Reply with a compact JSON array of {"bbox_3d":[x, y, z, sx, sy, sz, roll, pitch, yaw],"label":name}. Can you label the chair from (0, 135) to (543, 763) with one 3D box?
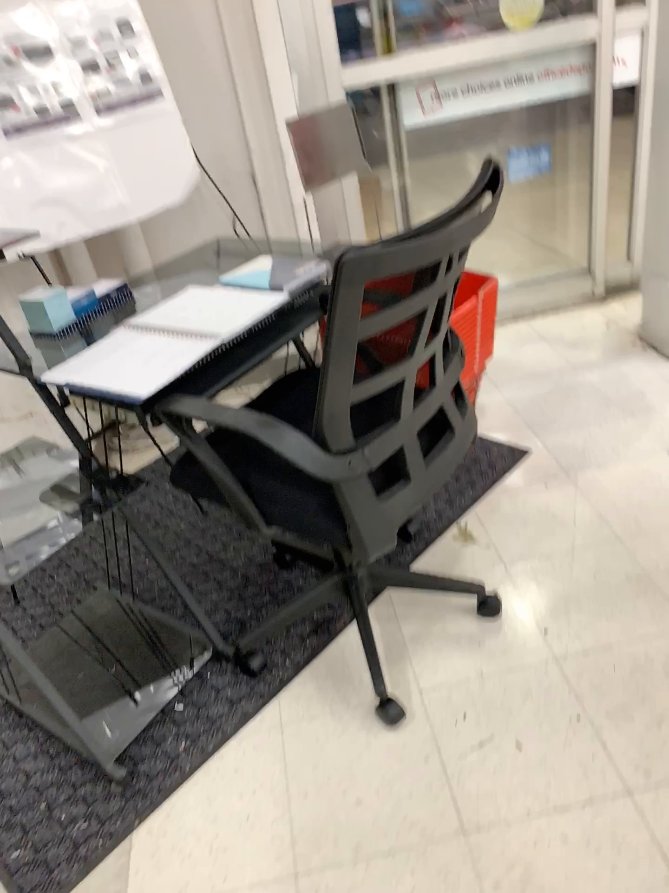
[{"bbox_3d":[-0.020,-0.033,1.389,0.696,0.942,0.616,10,37,31],"label":"chair"}]
